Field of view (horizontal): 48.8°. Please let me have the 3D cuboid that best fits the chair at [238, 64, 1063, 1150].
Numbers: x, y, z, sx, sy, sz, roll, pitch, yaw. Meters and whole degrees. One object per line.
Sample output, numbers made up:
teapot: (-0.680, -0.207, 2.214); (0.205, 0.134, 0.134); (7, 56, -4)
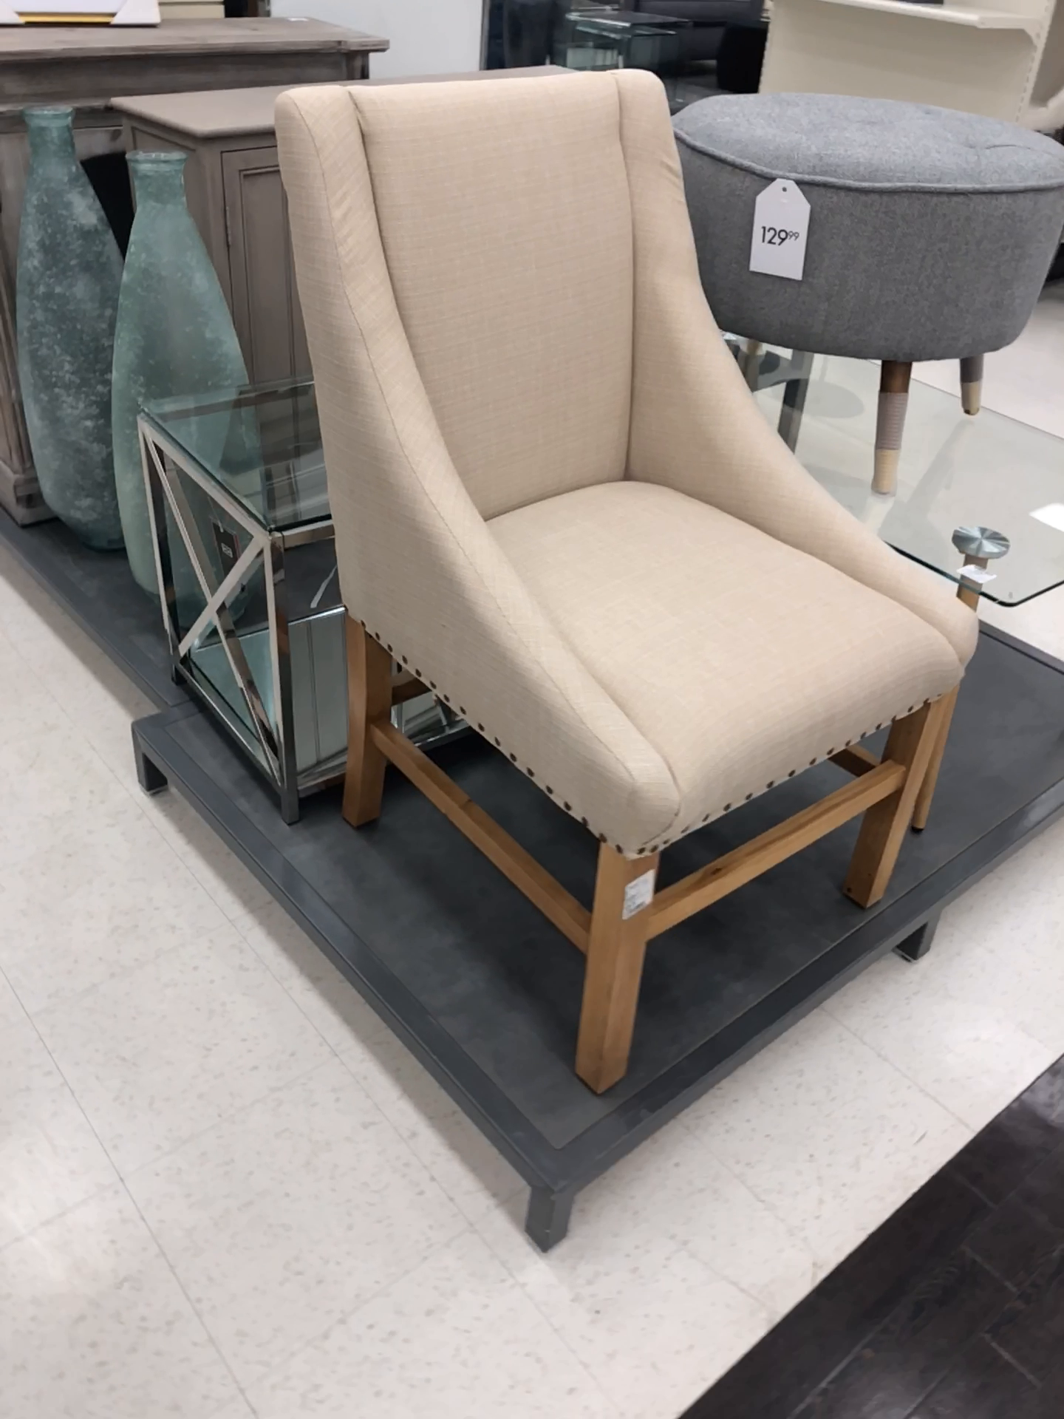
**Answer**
chair: (0.125, -0.160, 1.394); (0.611, 0.966, 0.652); (-24, 44, -34)
